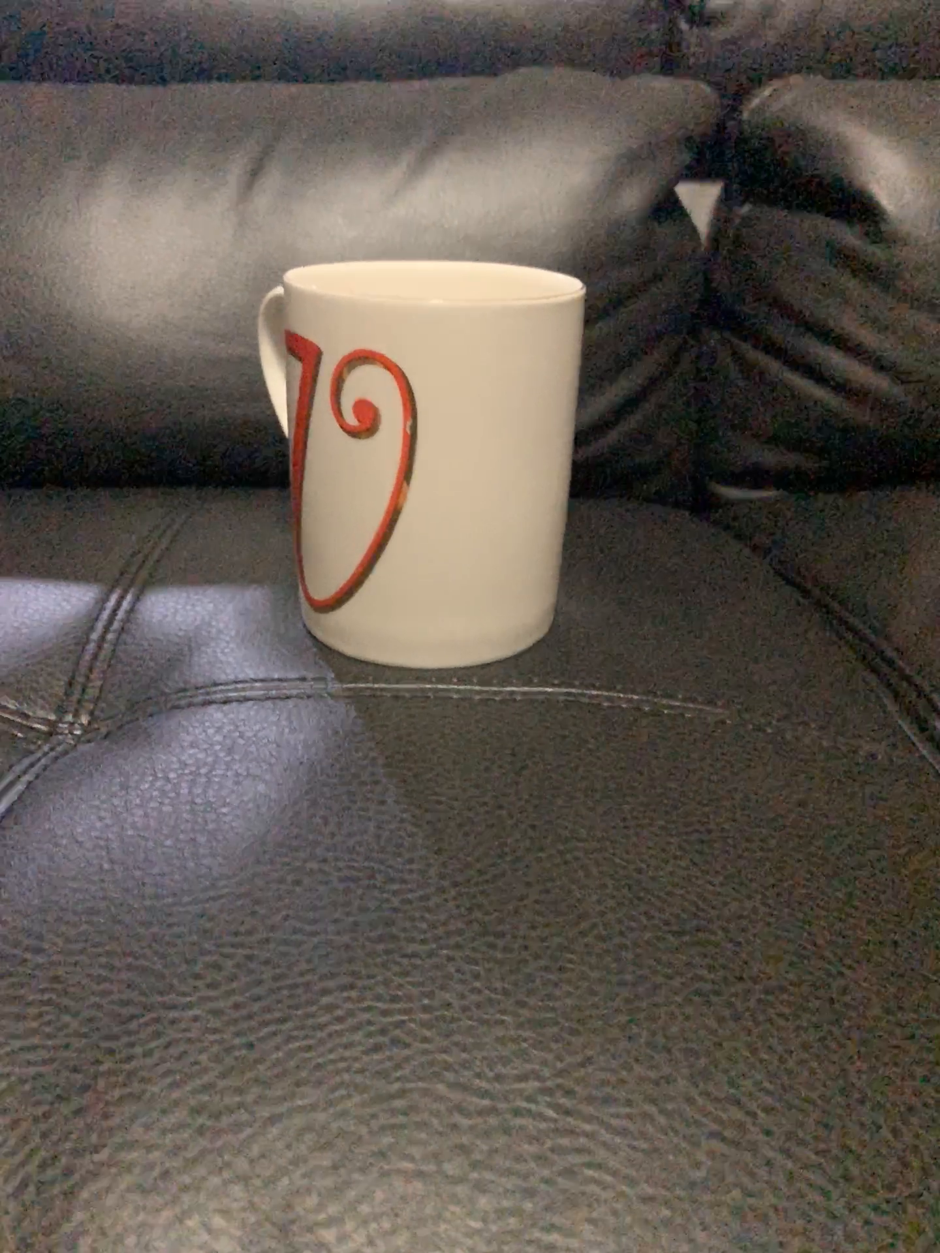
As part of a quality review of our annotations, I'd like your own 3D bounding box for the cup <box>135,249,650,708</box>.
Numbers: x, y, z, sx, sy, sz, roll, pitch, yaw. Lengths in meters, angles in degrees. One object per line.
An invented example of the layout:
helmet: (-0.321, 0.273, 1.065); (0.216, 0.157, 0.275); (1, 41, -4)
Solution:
cup: (-0.031, -0.062, 0.321); (0.098, 0.106, 0.139); (-16, 29, -34)
